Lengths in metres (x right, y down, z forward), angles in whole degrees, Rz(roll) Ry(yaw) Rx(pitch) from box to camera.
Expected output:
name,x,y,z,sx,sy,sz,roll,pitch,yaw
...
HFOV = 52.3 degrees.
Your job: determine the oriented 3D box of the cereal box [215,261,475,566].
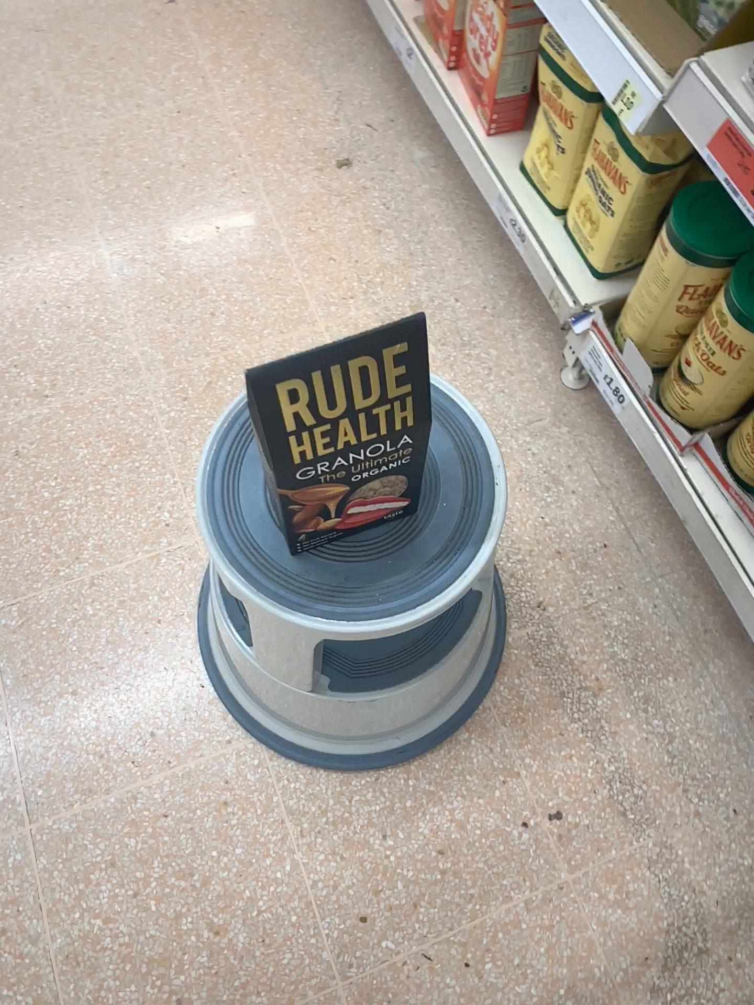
name,x,y,z,sx,sy,sz,roll,pitch,yaw
cereal box,-0.024,-0.049,0.579,0.140,0.259,0.070,-19,68,-10
